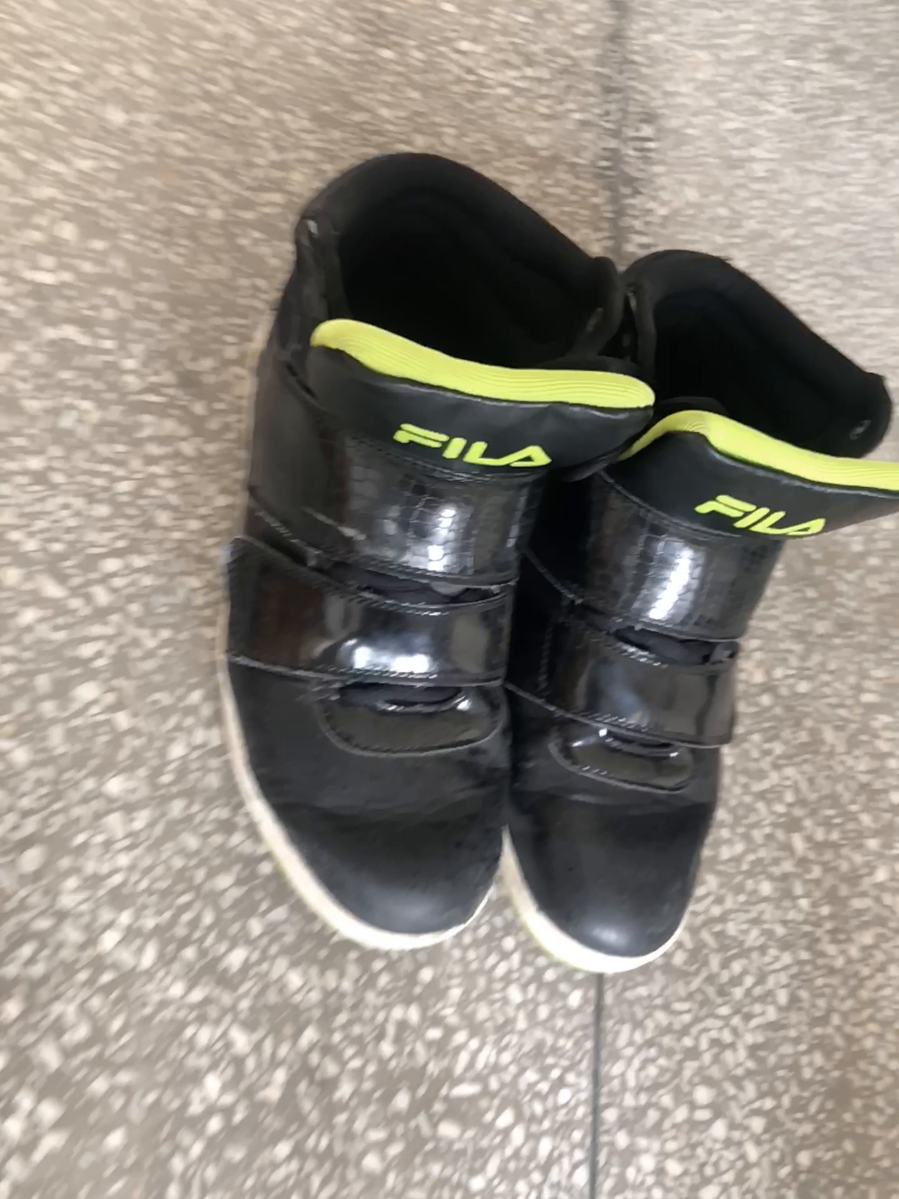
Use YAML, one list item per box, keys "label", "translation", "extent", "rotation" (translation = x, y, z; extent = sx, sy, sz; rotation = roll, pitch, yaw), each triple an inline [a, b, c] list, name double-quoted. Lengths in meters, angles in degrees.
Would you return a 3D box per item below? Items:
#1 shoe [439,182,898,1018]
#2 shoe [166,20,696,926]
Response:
- label: "shoe"
  translation: [0.093, 0.012, 0.374]
  extent: [0.120, 0.147, 0.250]
  rotation: [15, 66, -19]
- label: "shoe"
  translation: [-0.016, -0.027, 0.360]
  extent: [0.120, 0.147, 0.270]
  rotation: [8, 69, -22]
